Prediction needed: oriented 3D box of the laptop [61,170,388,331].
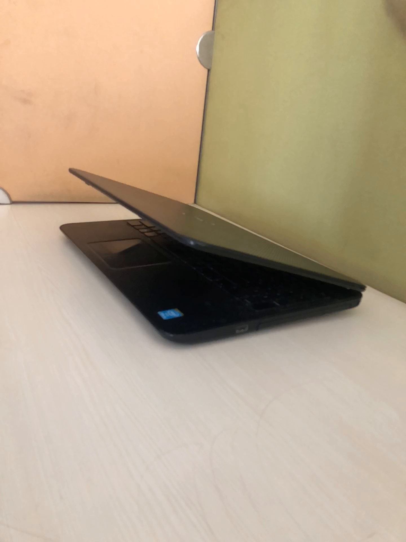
[{"bbox_3d":[-0.007,-0.056,0.559,0.247,0.078,0.354,-6,23,-30],"label":"laptop"}]
